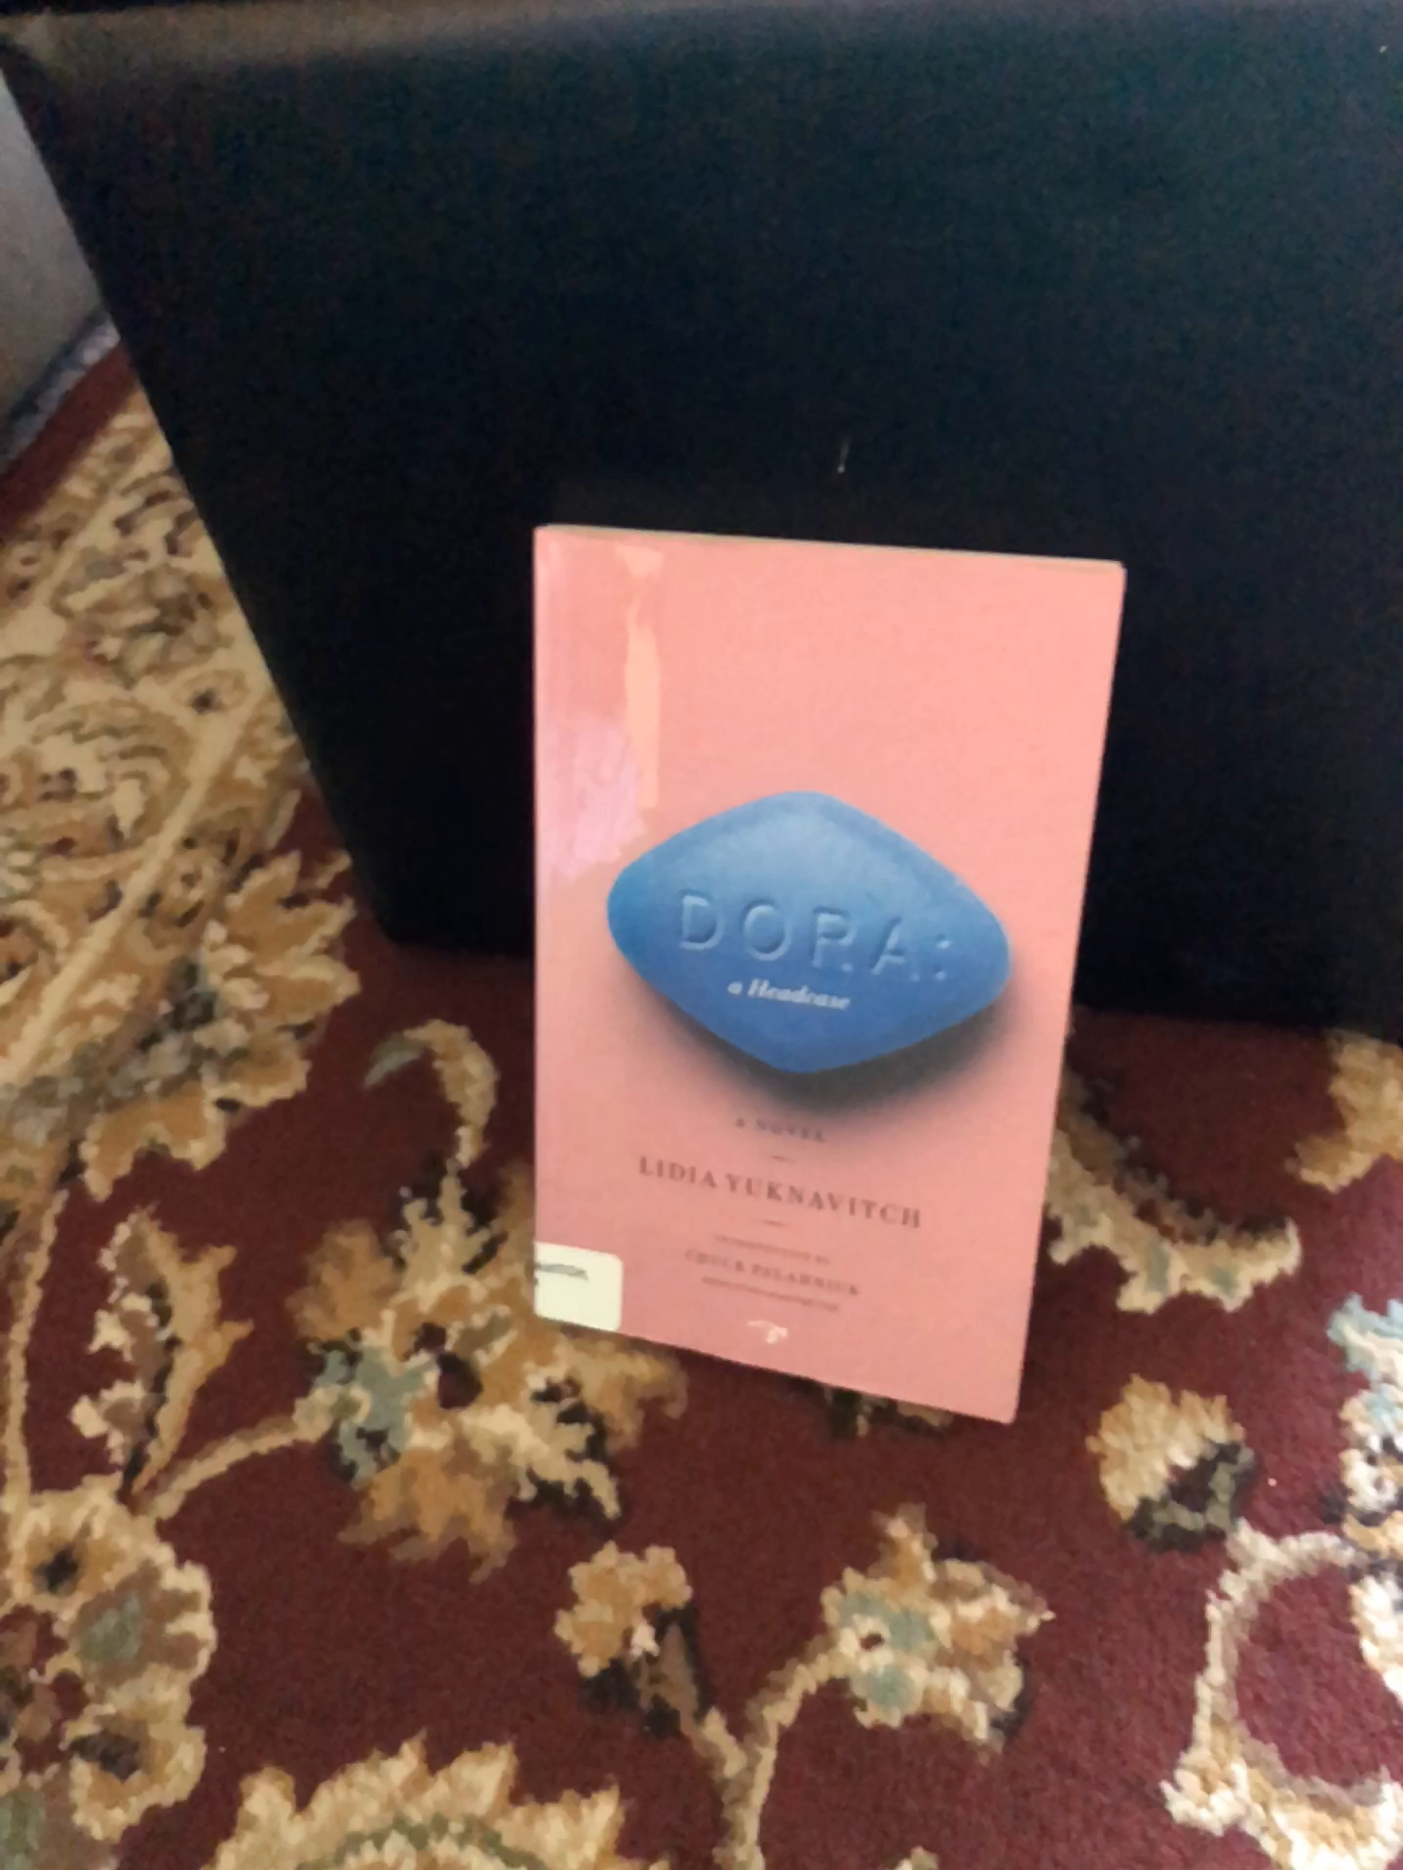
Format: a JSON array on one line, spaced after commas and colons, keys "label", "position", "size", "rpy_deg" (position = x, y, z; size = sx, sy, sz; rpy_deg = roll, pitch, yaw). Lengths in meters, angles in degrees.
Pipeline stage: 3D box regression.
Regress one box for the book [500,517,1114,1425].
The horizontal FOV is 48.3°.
[{"label": "book", "position": [0.020, 0.011, 0.427], "size": [0.149, 0.231, 0.030], "rpy_deg": [8, 20, 16]}]
